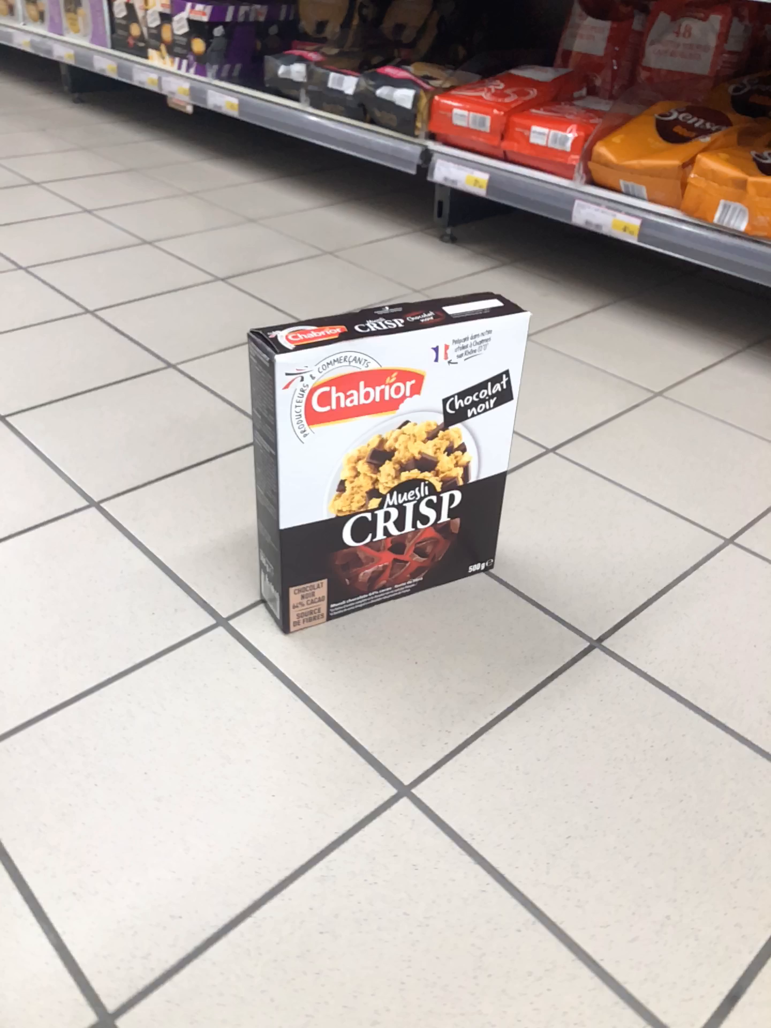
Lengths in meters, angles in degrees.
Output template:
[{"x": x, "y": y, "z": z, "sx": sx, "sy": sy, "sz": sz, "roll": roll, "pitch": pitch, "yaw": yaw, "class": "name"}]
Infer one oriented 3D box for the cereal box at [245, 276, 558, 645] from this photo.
[{"x": 0.009, "y": -0.039, "z": 0.616, "sx": 0.201, "sy": 0.229, "sz": 0.060, "roll": -15, "pitch": 38, "yaw": -25, "class": "cereal box"}]
